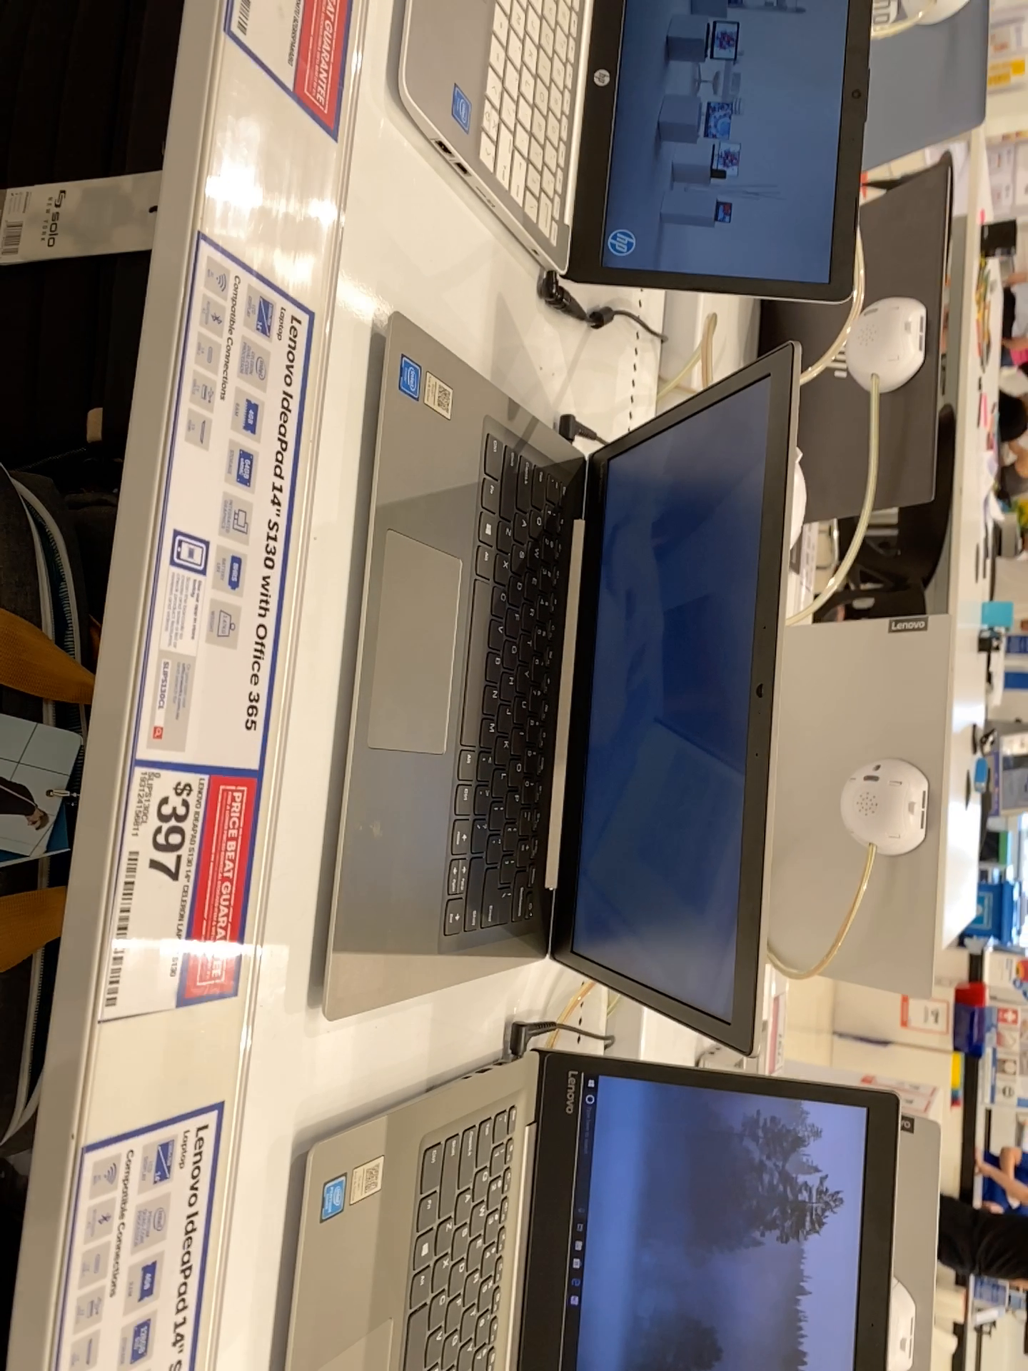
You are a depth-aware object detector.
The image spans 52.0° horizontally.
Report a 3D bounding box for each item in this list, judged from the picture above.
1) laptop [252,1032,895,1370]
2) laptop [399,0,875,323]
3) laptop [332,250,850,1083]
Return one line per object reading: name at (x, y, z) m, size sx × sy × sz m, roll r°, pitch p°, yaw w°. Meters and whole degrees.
laptop at (0.062, 0.390, 0.554) m, size 0.311 × 0.215 × 0.329 m, roll 16°, pitch 78°, yaw -63°
laptop at (0.096, -0.419, 0.610) m, size 0.286 × 0.155 × 0.304 m, roll 15°, pitch 78°, yaw -61°
laptop at (0.059, -0.002, 0.555) m, size 0.232 × 0.170 × 0.329 m, roll 13°, pitch 81°, yaw -62°
